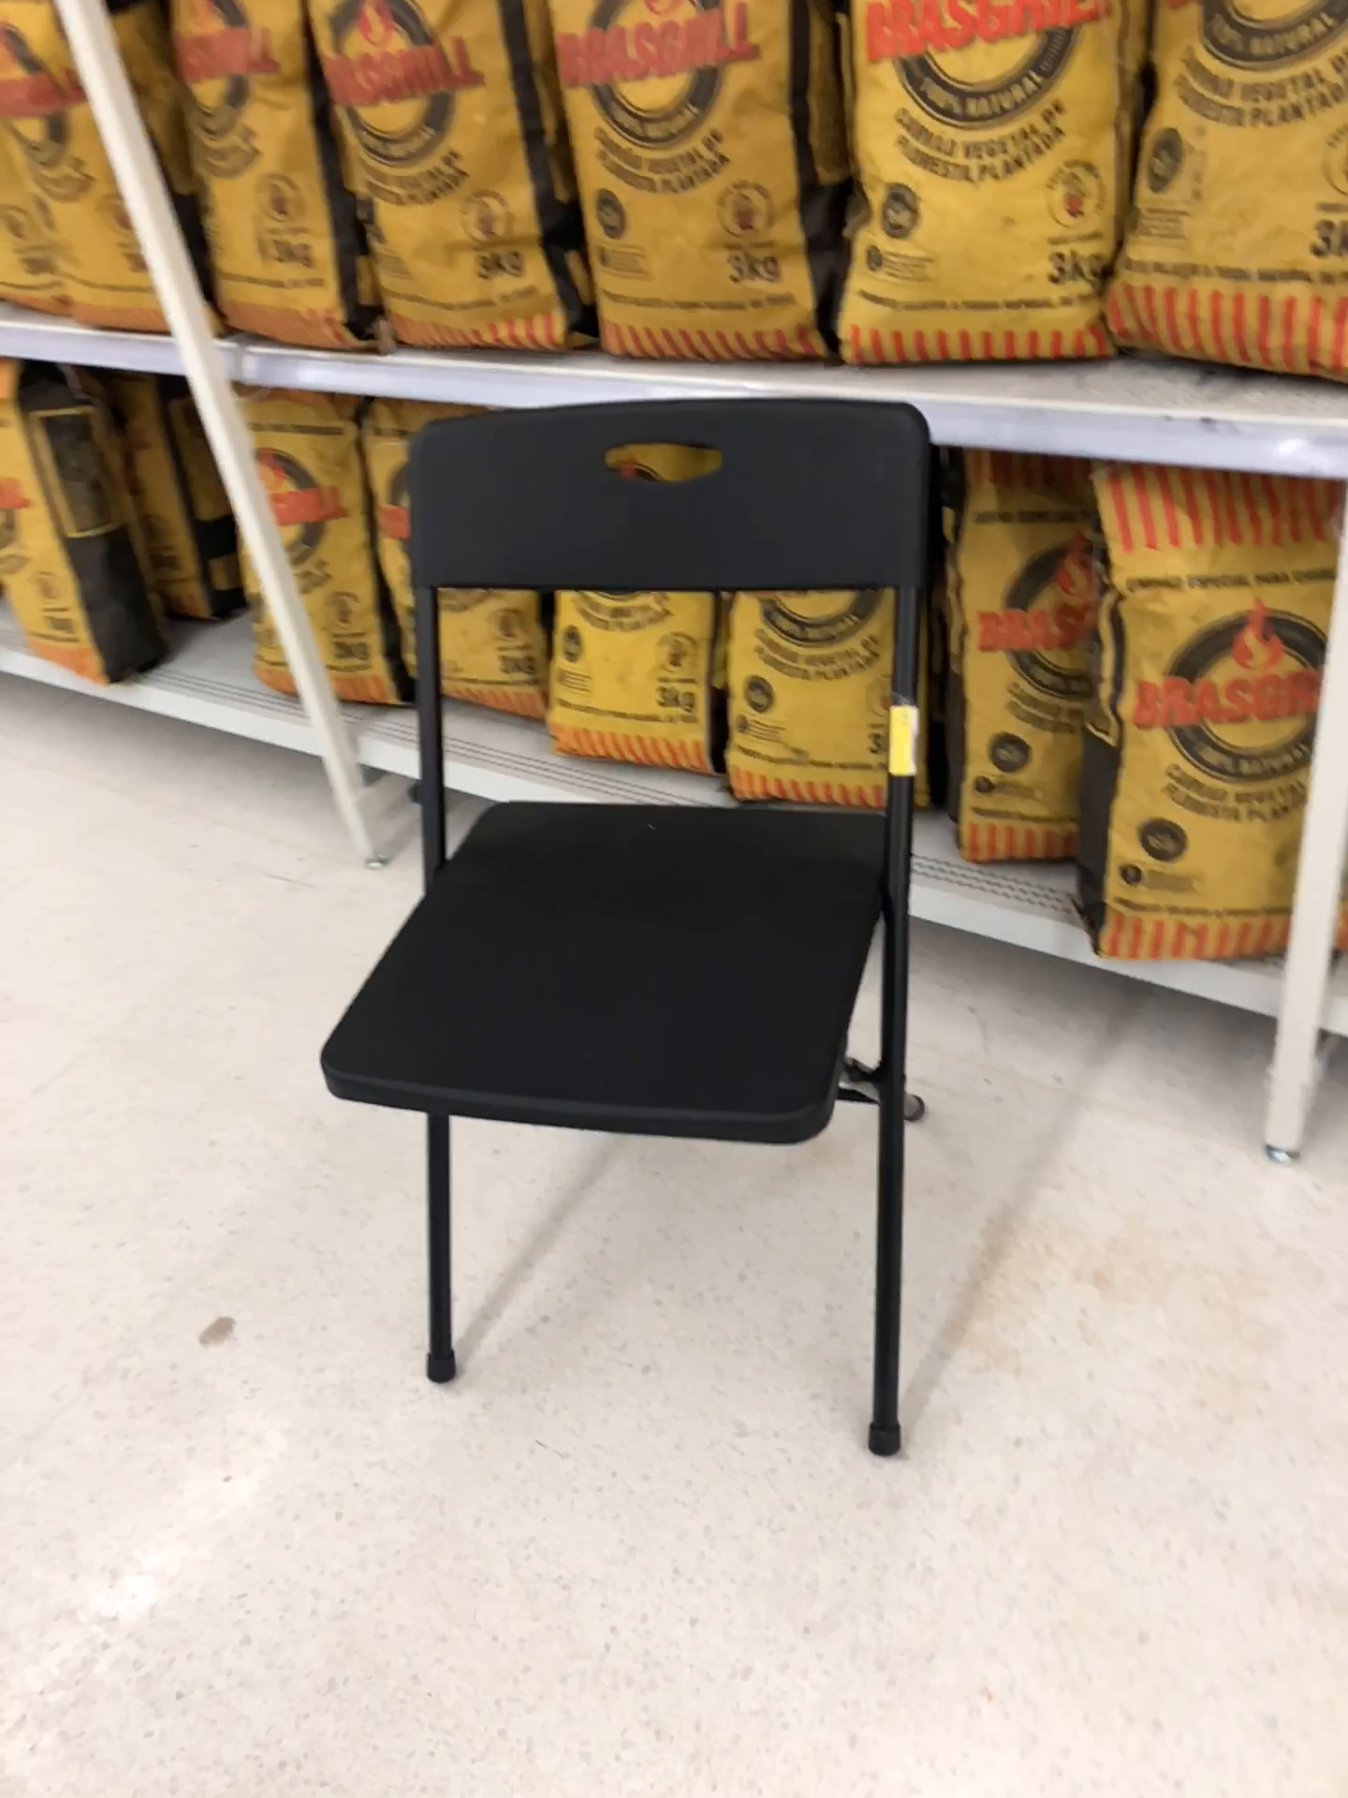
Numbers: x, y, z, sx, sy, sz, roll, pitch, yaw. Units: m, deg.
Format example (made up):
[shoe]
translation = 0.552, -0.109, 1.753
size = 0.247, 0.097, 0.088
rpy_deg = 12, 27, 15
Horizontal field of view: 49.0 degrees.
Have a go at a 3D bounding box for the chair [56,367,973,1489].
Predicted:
[chair]
translation = -0.031, 0.026, 1.181
size = 0.460, 0.715, 0.453
rpy_deg = 3, 38, 18
